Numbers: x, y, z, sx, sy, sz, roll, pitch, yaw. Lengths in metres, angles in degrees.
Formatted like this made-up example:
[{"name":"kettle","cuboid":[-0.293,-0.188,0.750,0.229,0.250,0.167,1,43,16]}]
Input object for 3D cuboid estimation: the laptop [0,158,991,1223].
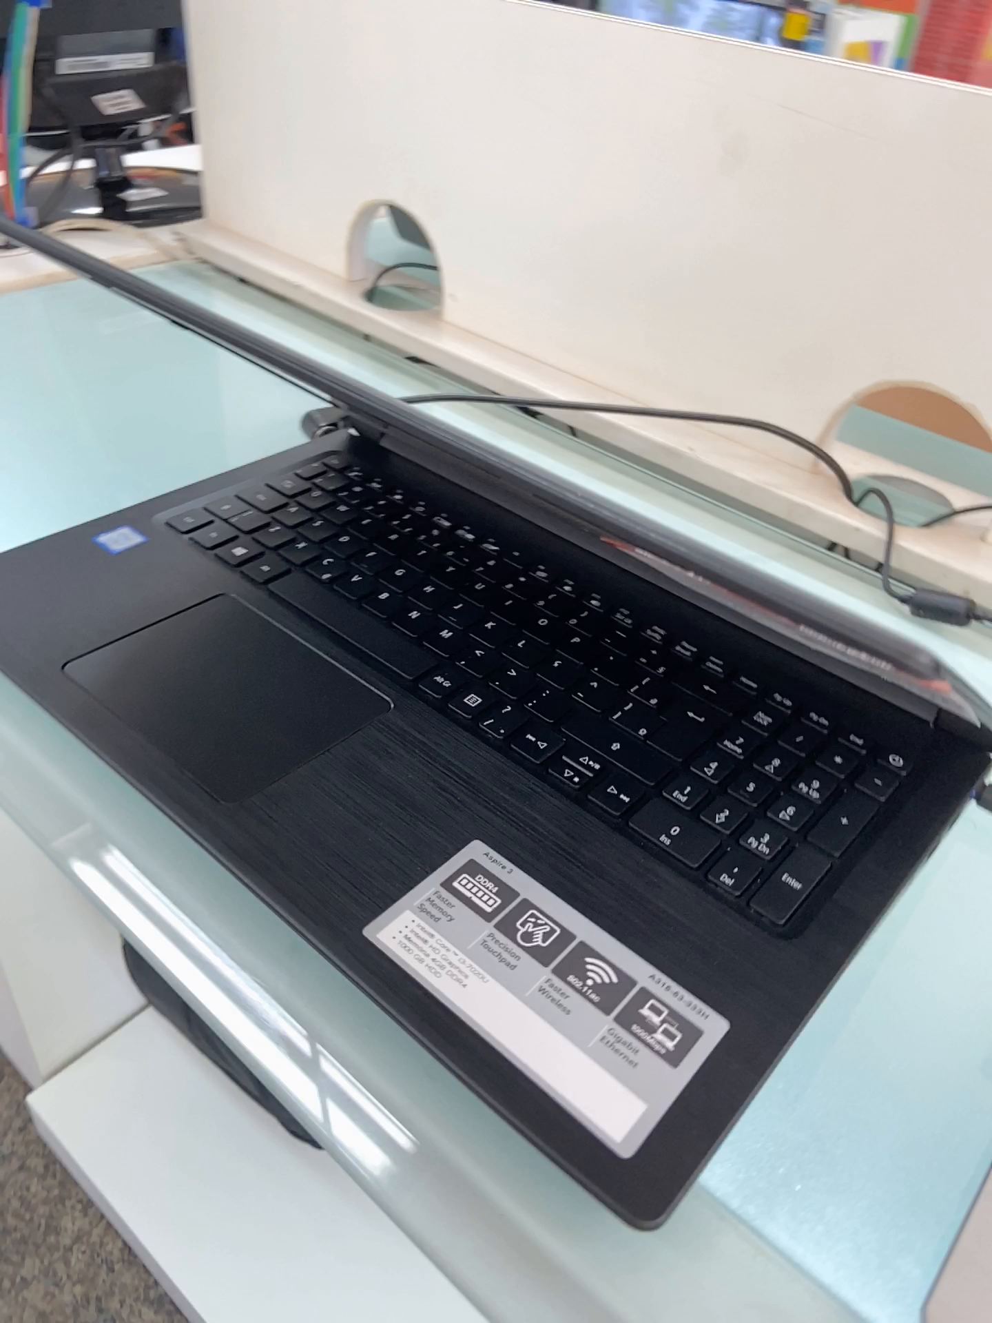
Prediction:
[{"name":"laptop","cuboid":[-0.022,-0.053,0.362,0.367,0.142,0.233,30,44,30]}]
